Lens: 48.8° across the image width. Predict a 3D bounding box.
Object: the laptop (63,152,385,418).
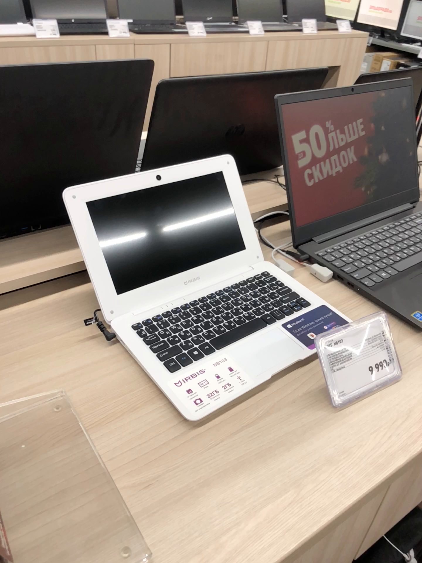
[{"bbox_3d":[0.006,-0.034,0.654,0.297,0.144,0.318,-20,43,-32],"label":"laptop"}]
